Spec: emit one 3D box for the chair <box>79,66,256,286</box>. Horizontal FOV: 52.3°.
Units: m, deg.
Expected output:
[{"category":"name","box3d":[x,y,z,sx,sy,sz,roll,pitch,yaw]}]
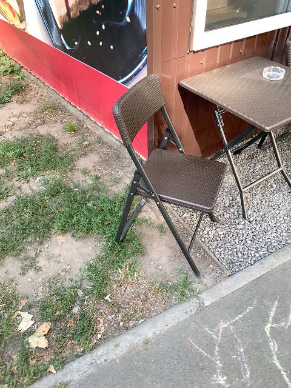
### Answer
[{"category":"chair","box3d":[0.111,-0.078,1.236,0.470,0.687,0.472,14,44,18]}]
